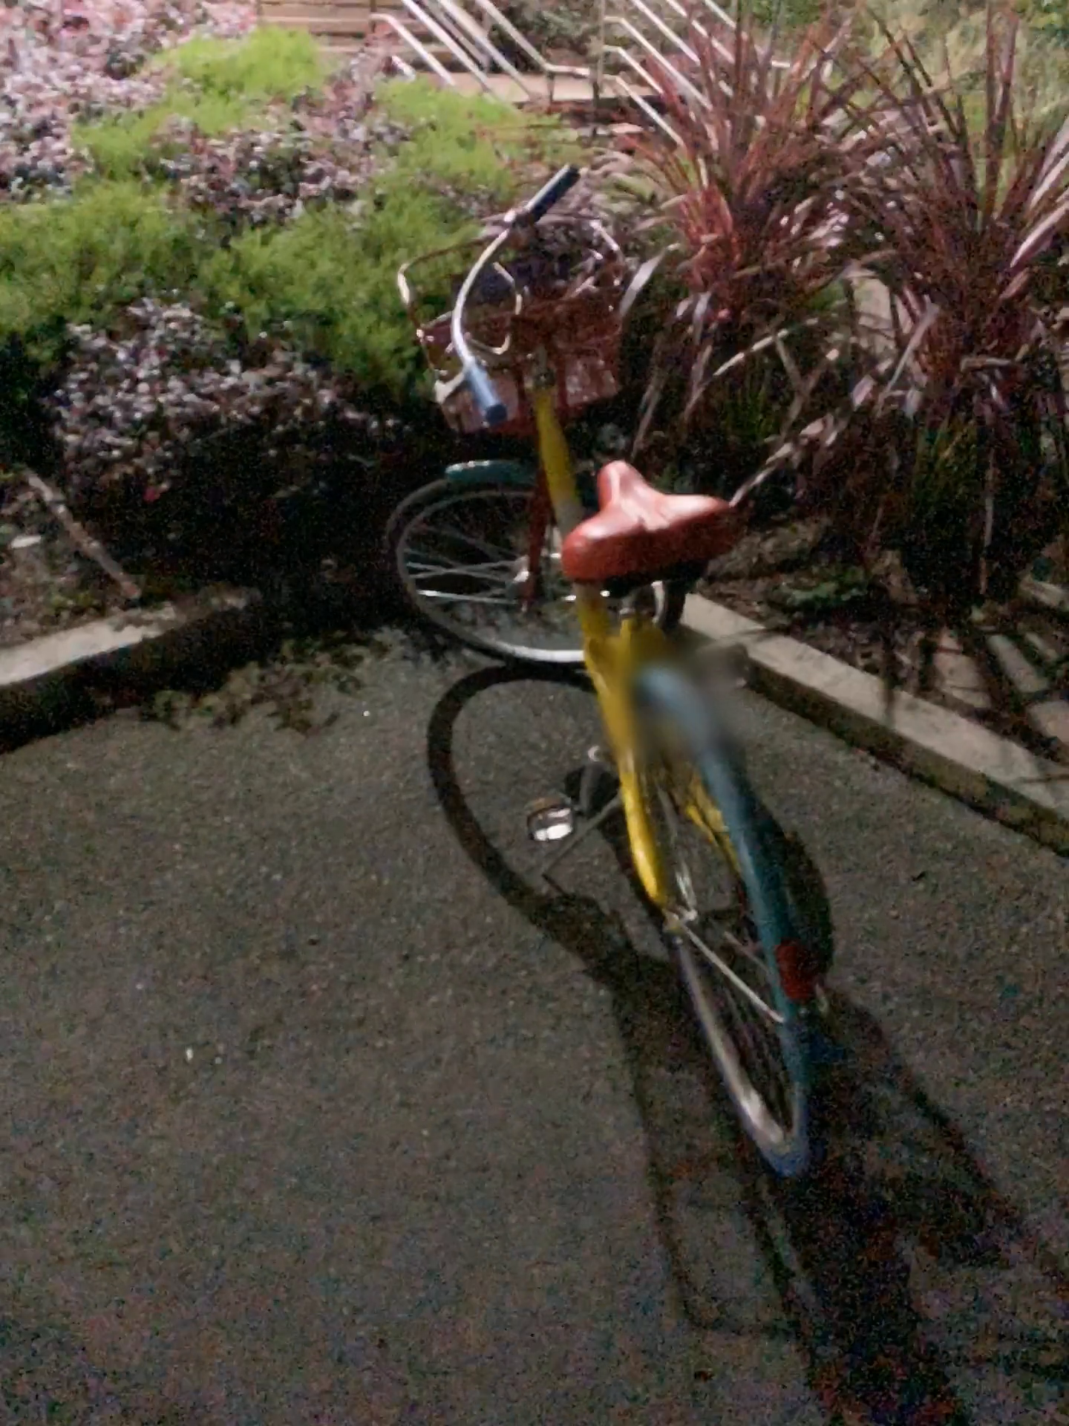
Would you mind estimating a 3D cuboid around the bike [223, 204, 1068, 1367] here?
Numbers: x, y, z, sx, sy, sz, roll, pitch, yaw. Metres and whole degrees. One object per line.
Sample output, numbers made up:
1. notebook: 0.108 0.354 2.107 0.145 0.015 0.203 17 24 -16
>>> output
1. bike: -0.011 -0.125 1.703 0.600 1.085 1.592 -11 33 -19
